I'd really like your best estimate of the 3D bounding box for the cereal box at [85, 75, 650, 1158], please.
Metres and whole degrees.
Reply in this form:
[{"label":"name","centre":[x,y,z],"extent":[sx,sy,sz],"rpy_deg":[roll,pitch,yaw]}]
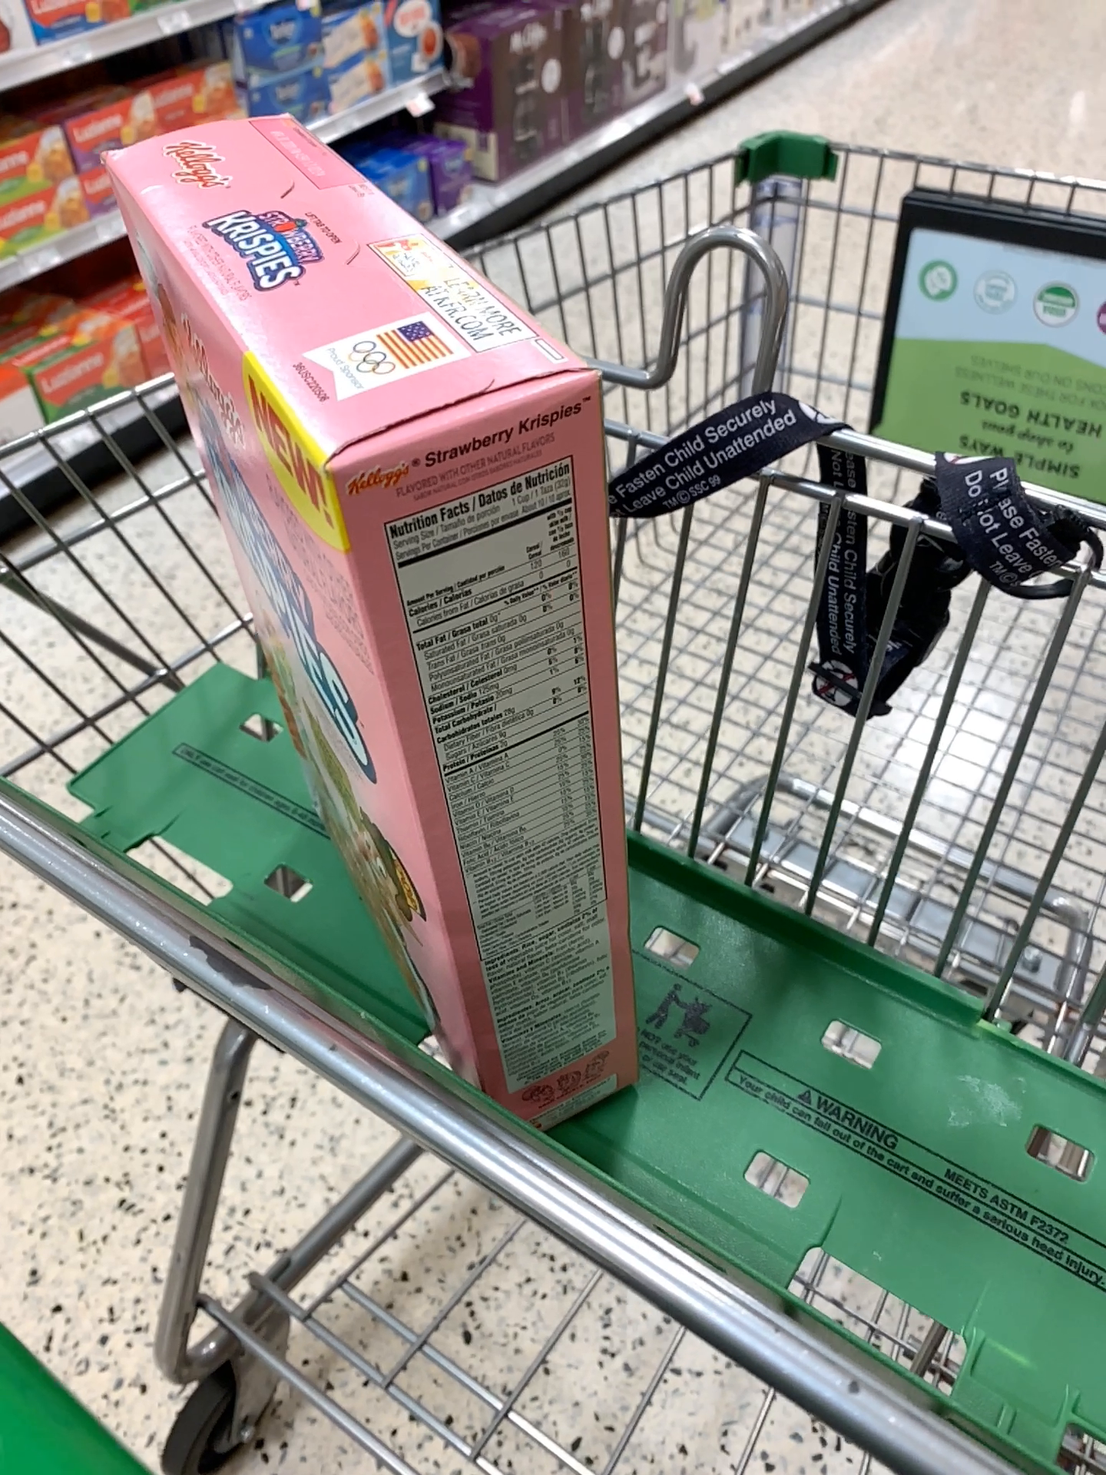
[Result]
[{"label":"cereal box","centre":[-0.050,-0.025,0.386],"extent":[0.060,0.297,0.212],"rpy_deg":[-24,49,-16]}]
